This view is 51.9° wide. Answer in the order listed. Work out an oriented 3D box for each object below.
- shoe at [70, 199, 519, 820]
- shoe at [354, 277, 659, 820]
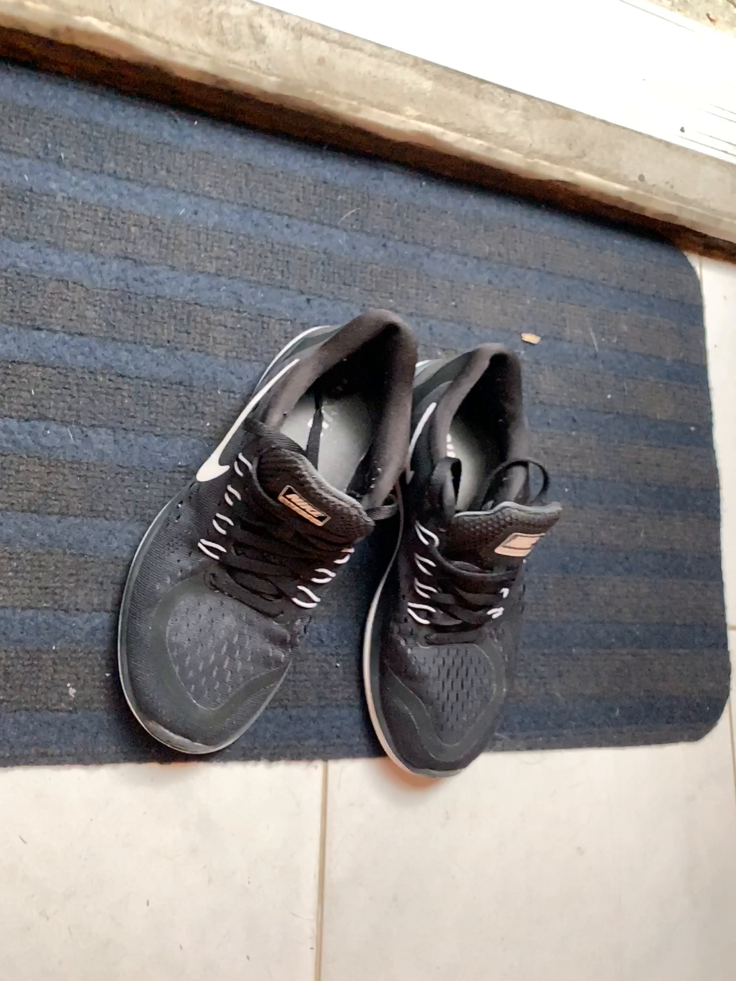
[{"bbox_3d":[-0.036,0.008,0.377,0.104,0.119,0.248,28,70,-15],"label":"shoe"},{"bbox_3d":[0.071,0.035,0.415,0.107,0.119,0.248,9,76,-21],"label":"shoe"}]
